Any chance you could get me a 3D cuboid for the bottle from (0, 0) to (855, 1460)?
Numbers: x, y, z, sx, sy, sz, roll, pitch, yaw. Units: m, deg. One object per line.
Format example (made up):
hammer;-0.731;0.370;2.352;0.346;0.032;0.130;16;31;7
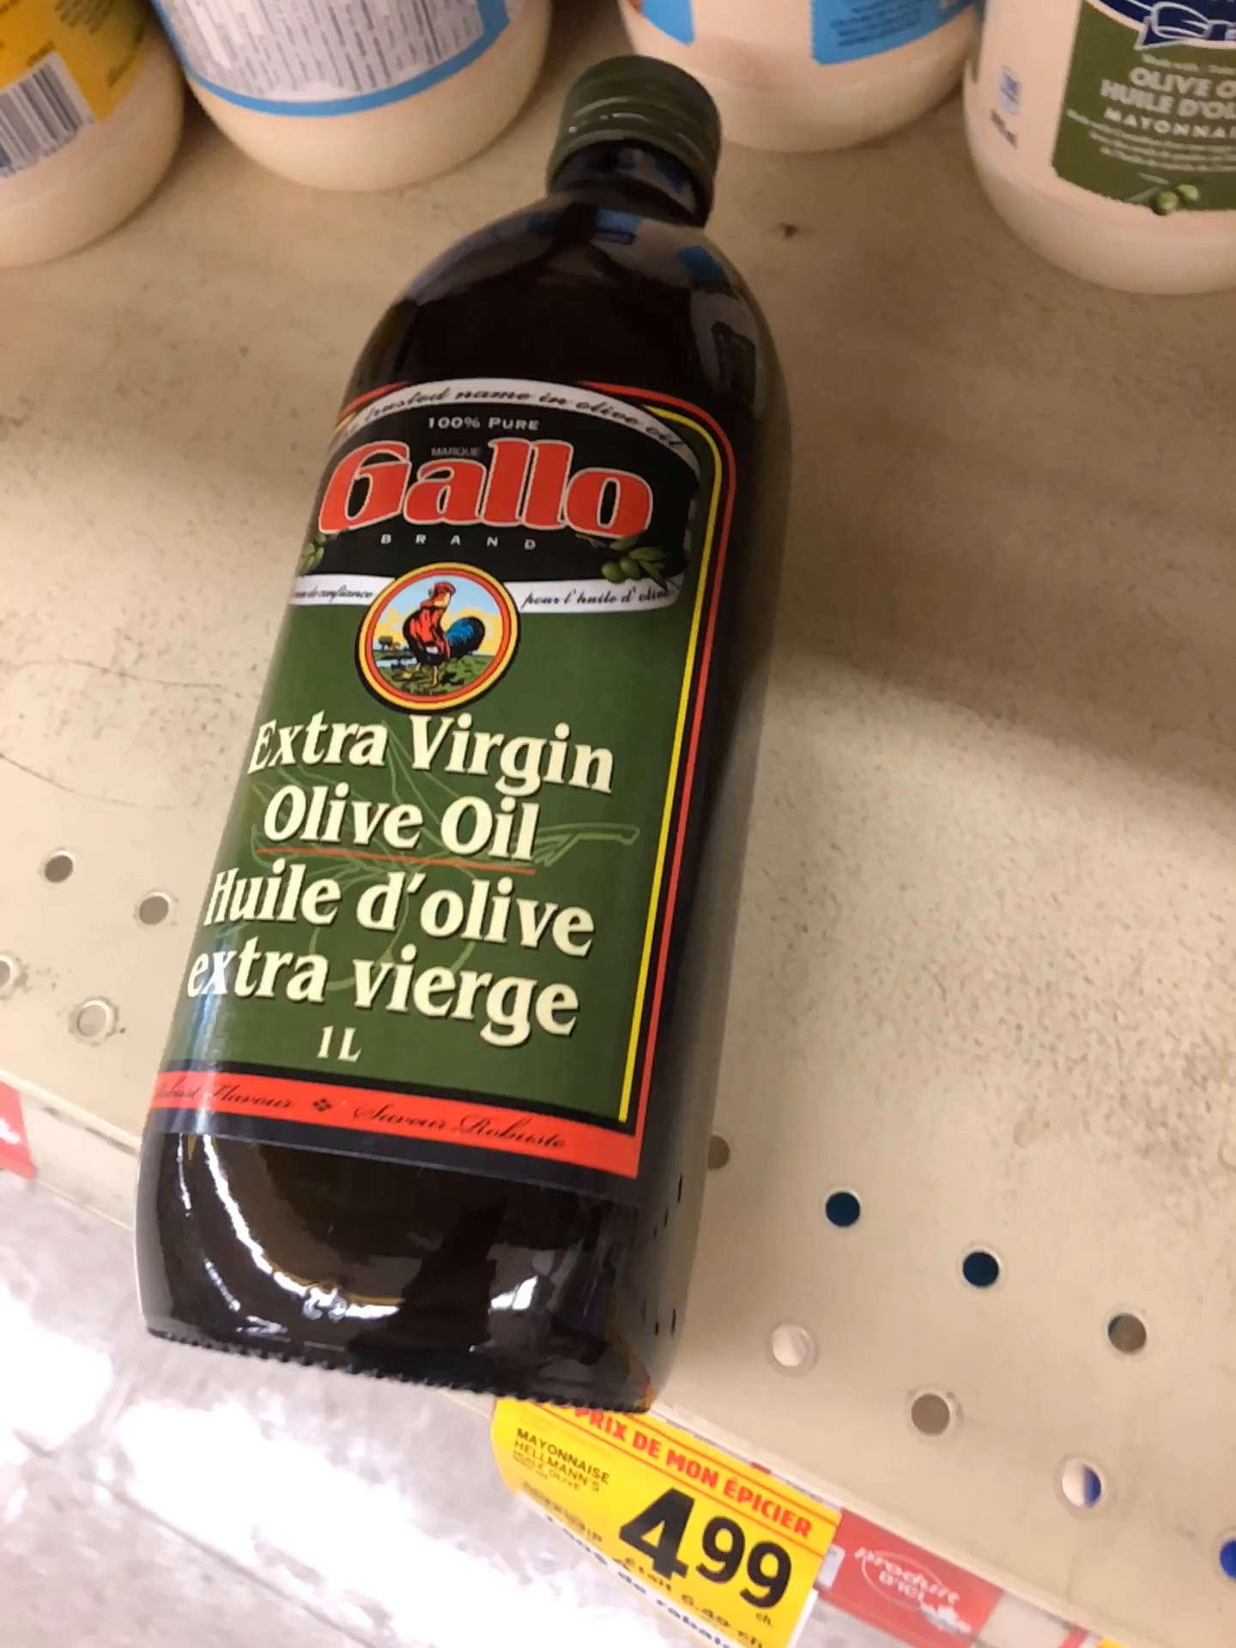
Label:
bottle;-0.016;-0.042;0.249;0.090;0.090;0.271;5;68;11
